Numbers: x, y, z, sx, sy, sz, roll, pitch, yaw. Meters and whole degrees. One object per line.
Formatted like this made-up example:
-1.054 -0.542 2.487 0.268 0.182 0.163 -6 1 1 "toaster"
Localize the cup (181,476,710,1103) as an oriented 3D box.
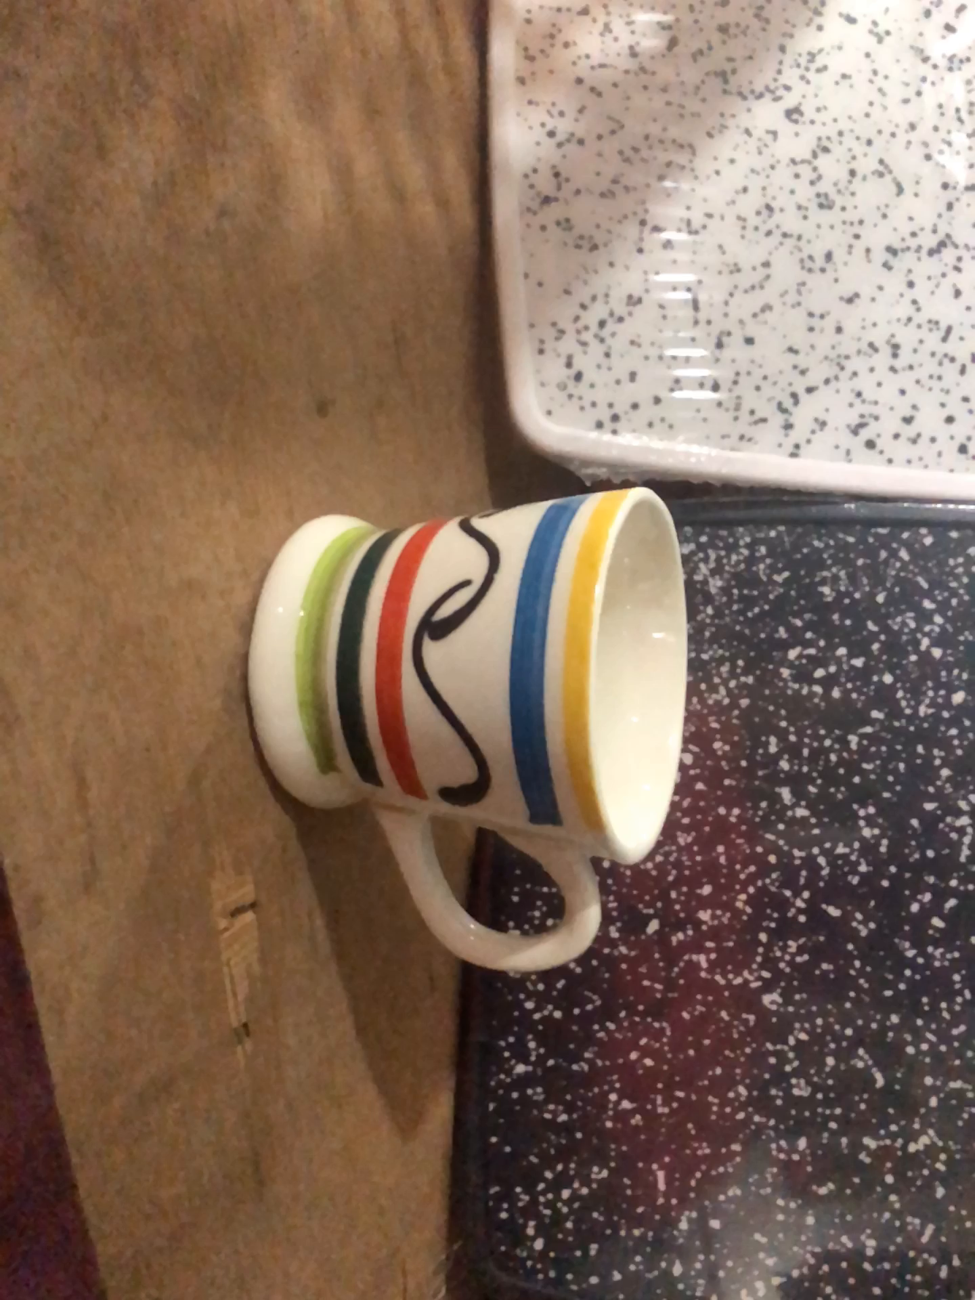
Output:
-0.003 0.019 0.213 0.060 0.079 0.100 -23 112 -65 "cup"
